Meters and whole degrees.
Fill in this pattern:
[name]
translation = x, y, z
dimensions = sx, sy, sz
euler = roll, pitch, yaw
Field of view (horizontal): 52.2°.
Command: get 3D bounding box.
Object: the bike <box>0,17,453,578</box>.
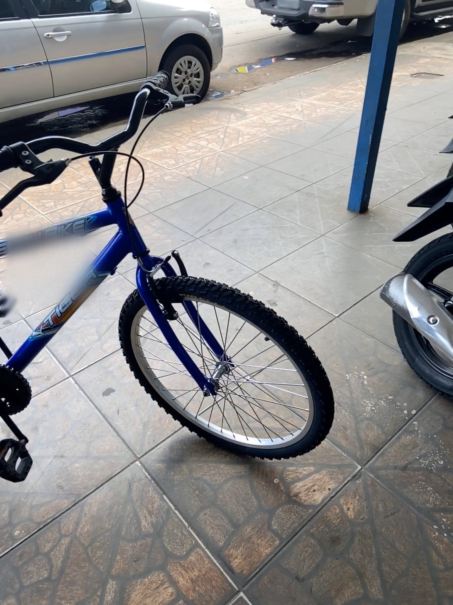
[bike]
translation = -0.525, 0.064, 1.023
dimensions = 1.486, 0.923, 0.626
euler = -3, 39, 6
